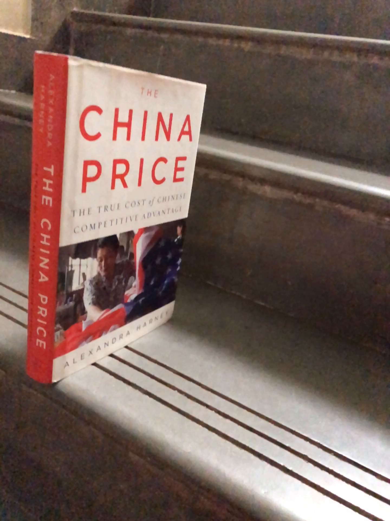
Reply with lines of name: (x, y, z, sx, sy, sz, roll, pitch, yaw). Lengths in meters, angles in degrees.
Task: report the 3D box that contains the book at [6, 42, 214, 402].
book: (-0.064, -0.034, 0.364, 0.040, 0.239, 0.181, 19, 23, 28)
